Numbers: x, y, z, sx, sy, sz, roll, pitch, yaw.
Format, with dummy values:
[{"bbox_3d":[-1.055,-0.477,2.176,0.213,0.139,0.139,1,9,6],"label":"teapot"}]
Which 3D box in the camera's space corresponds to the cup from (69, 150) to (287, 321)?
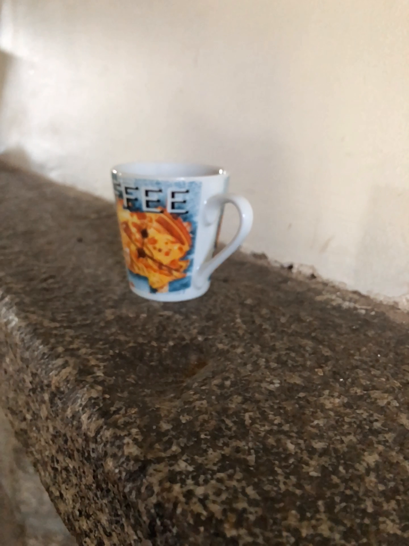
[{"bbox_3d":[-0.013,-0.025,0.222,0.080,0.060,0.060,14,22,34],"label":"cup"}]
